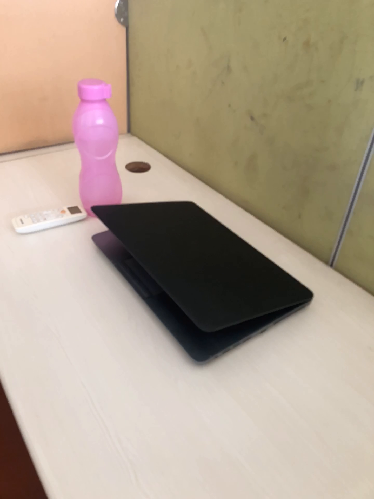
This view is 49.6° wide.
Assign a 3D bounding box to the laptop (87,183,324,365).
[{"bbox_3d":[0.011,0.008,0.664,0.226,0.050,0.331,-21,43,-28],"label":"laptop"}]
